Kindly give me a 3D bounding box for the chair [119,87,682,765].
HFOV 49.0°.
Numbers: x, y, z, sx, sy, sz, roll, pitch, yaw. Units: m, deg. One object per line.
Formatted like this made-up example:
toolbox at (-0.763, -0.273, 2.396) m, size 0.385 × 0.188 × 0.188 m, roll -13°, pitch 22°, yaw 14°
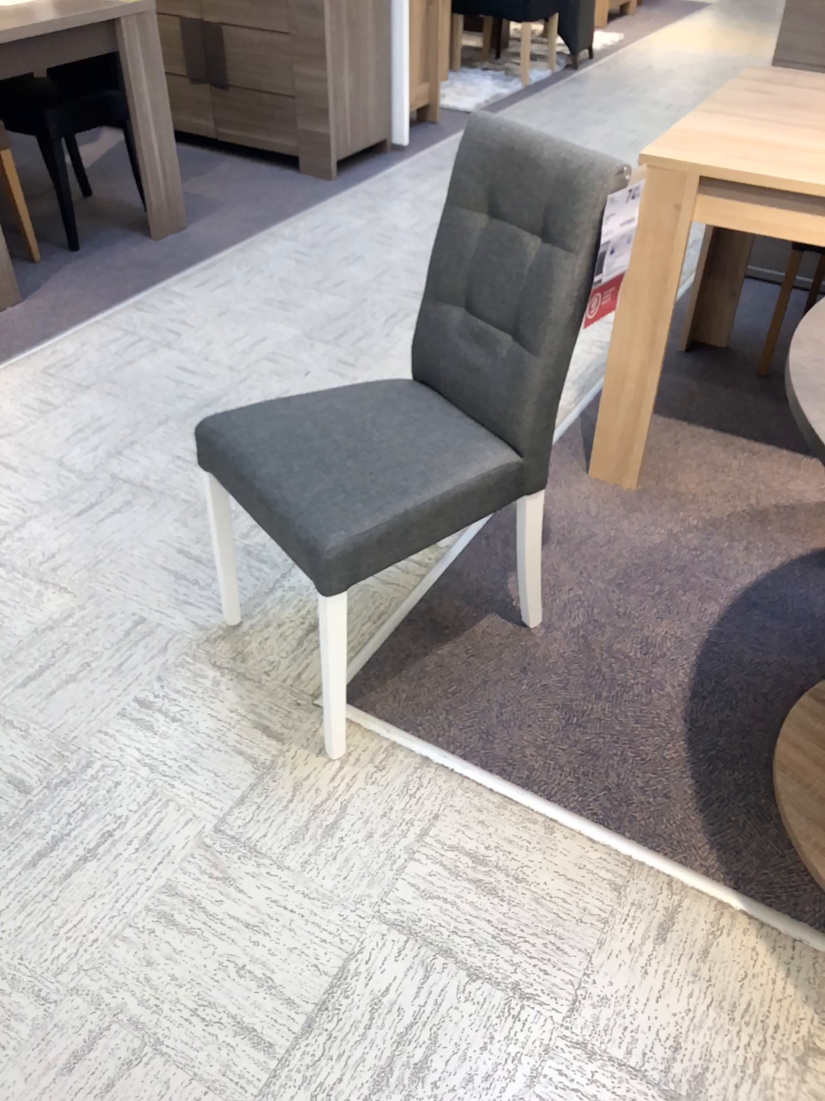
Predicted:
chair at (-0.027, -0.206, 1.446) m, size 0.582 × 0.825 × 0.461 m, roll -22°, pitch 44°, yaw -26°
